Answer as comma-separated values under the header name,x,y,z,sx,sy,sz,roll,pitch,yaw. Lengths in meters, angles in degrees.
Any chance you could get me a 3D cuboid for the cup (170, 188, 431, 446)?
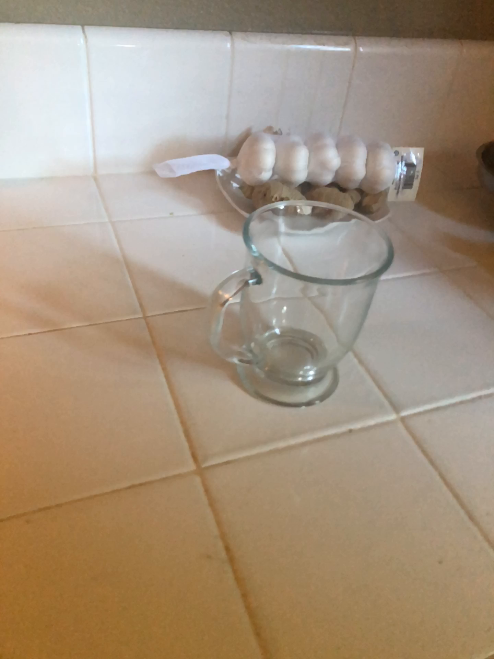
name,x,y,z,sx,sy,sz,roll,pitch,yaw
cup,0.027,-0.013,0.382,0.131,0.119,0.100,-15,47,-25
